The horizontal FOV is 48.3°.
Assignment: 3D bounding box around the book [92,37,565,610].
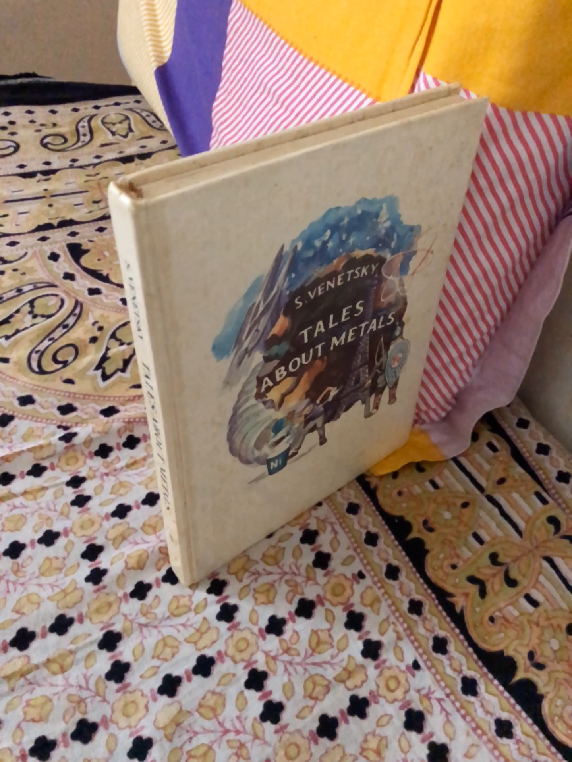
[{"bbox_3d":[0.016,-0.021,0.316,0.190,0.249,0.050,-24,49,-31],"label":"book"}]
